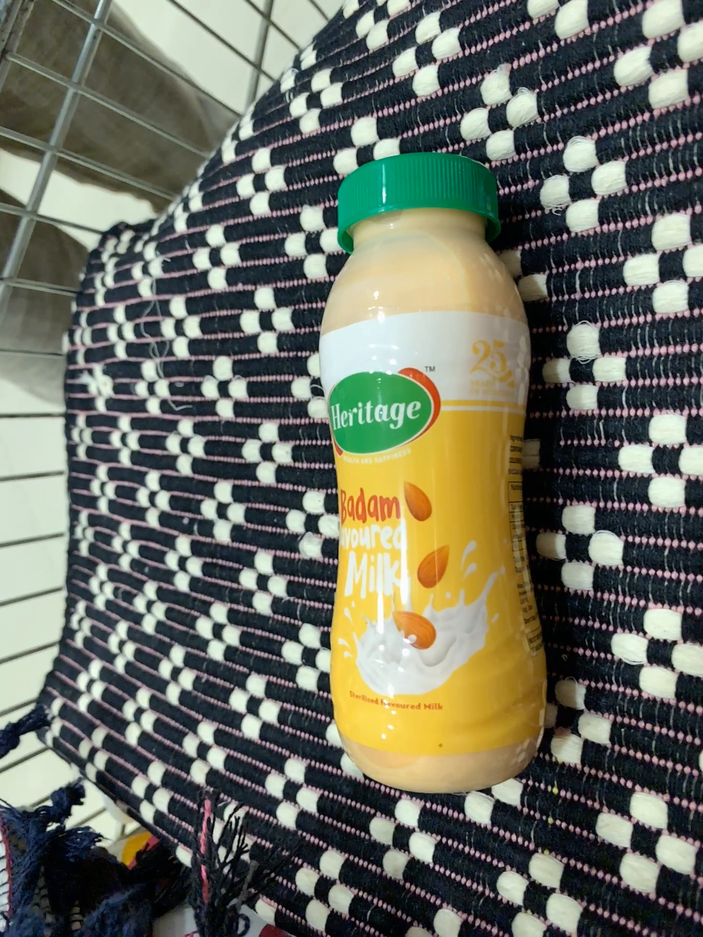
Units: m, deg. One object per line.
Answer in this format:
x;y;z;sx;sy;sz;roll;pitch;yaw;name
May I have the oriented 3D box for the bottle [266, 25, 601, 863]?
0.019;-0.005;0.164;0.060;0.040;0.150;-2;85;36;bottle
